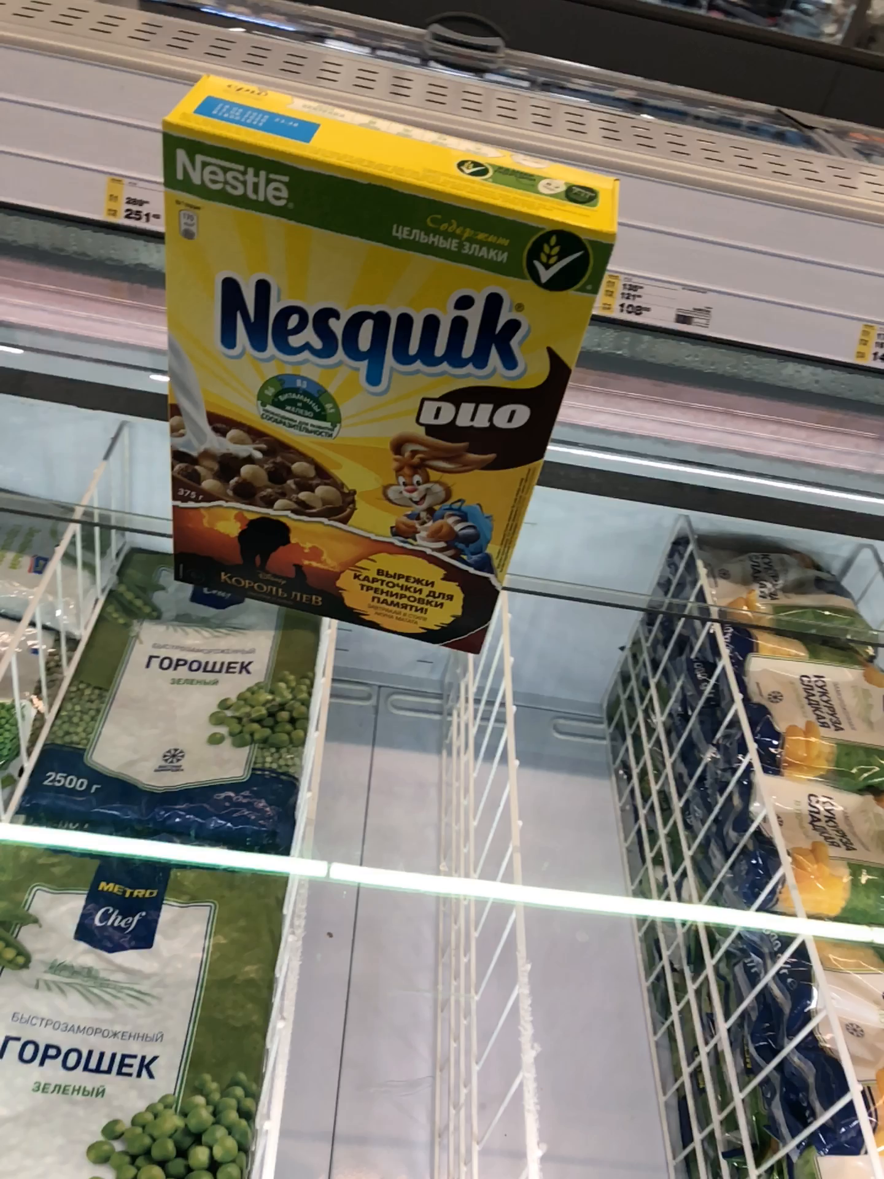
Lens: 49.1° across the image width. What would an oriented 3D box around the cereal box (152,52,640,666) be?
[{"bbox_3d":[-0.037,-0.099,0.511,0.200,0.278,0.071,14,44,0],"label":"cereal box"}]
